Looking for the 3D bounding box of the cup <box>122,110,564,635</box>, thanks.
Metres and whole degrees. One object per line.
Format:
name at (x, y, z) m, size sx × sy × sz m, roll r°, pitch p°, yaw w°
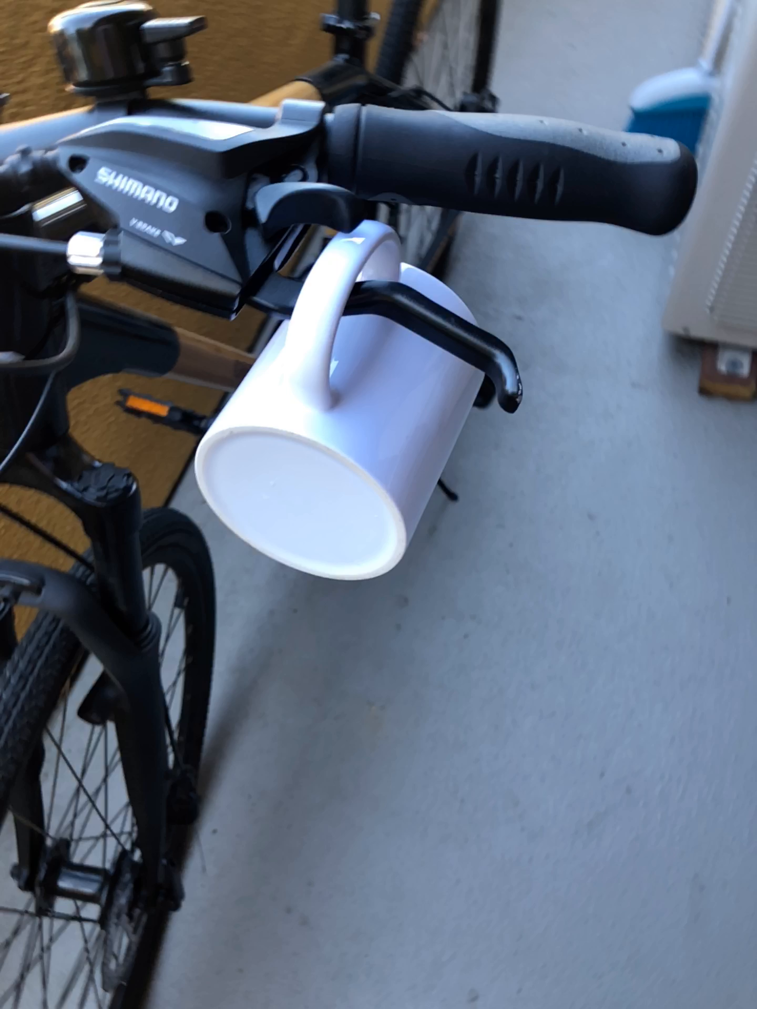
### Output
cup at (-0.008, -0.045, 0.310) m, size 0.090 × 0.120 × 0.120 m, roll 25°, pitch 59°, yaw 12°
